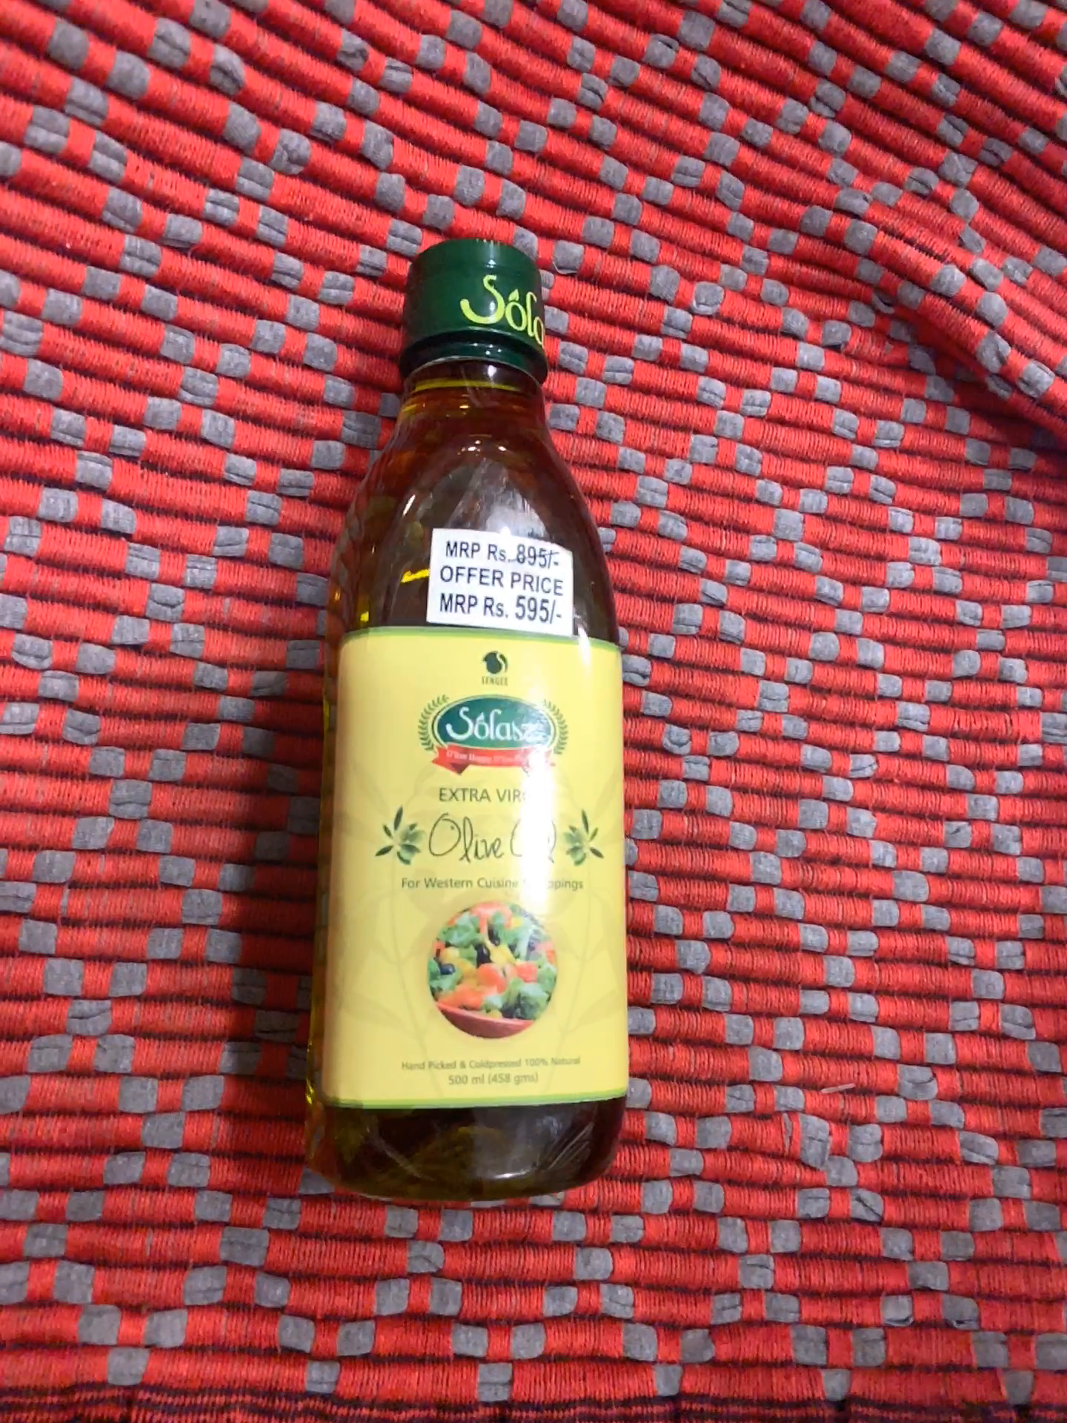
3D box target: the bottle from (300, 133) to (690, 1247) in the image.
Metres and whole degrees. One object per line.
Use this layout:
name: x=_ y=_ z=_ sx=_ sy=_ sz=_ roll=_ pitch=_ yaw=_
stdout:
bottle: x=-0.012 y=-0.006 z=0.230 sx=0.060 sy=0.070 sz=0.200 roll=3 pitch=75 yaw=-13
